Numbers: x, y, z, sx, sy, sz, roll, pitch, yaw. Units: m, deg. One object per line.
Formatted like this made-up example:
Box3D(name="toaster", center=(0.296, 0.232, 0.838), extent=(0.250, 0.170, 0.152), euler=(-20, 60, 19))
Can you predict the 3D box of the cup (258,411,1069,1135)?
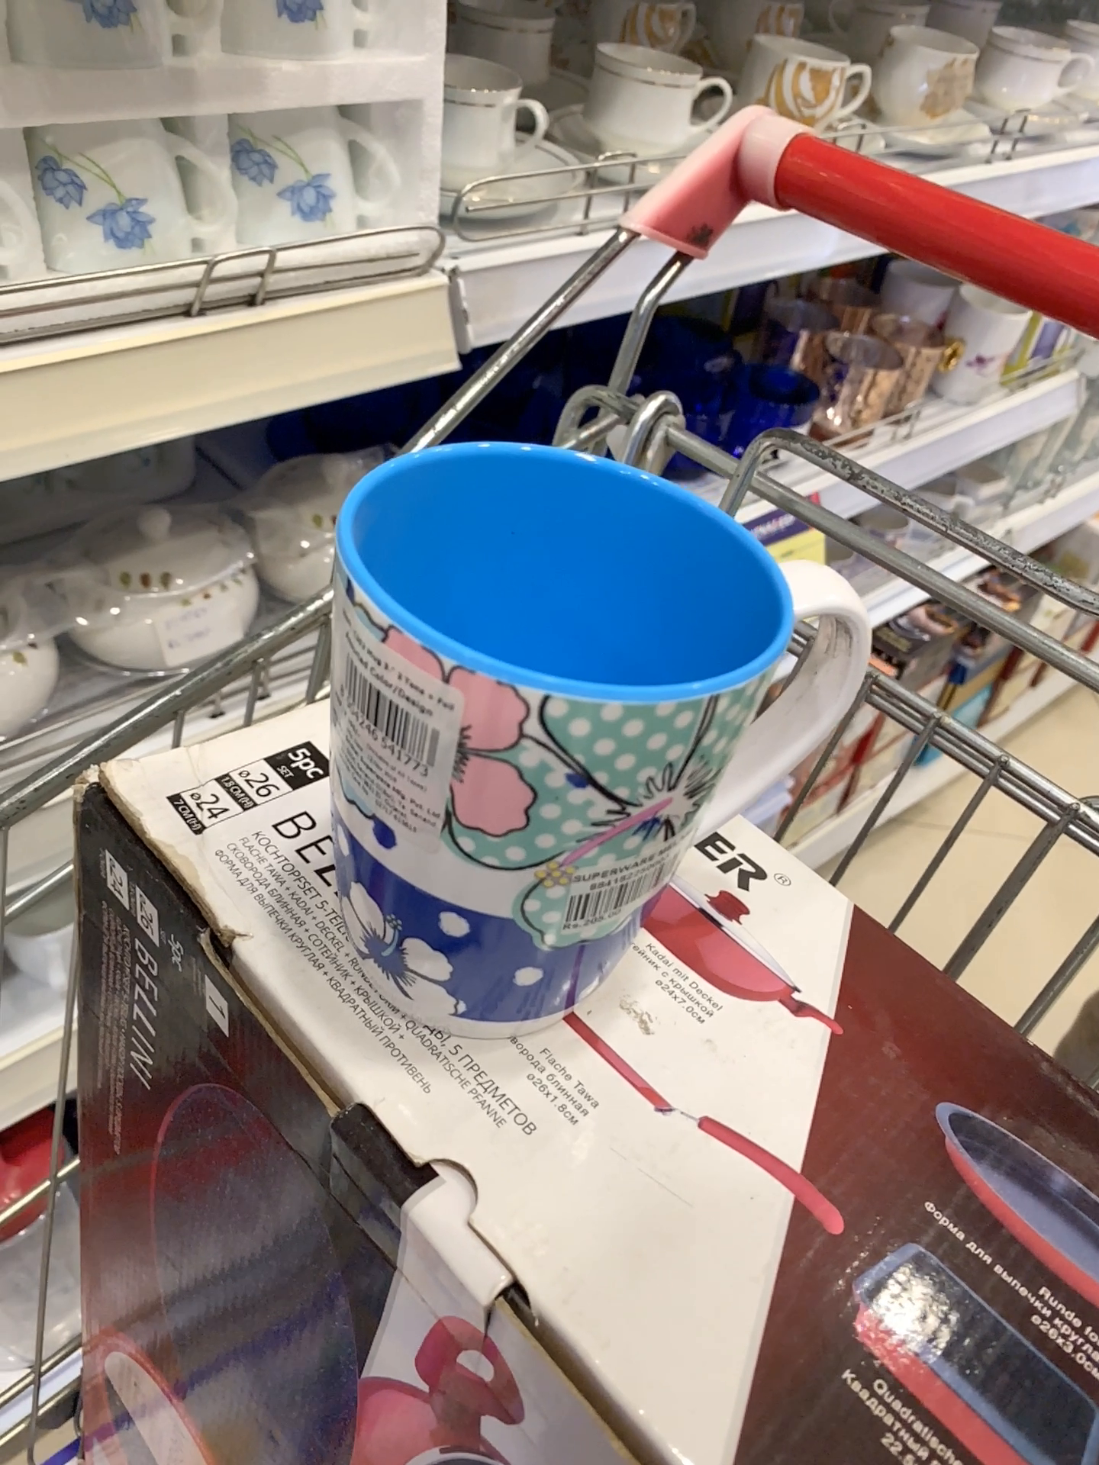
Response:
Box3D(name="cup", center=(0.013, 0.001, 0.232), extent=(0.120, 0.100, 0.080), euler=(-11, 46, -28))
